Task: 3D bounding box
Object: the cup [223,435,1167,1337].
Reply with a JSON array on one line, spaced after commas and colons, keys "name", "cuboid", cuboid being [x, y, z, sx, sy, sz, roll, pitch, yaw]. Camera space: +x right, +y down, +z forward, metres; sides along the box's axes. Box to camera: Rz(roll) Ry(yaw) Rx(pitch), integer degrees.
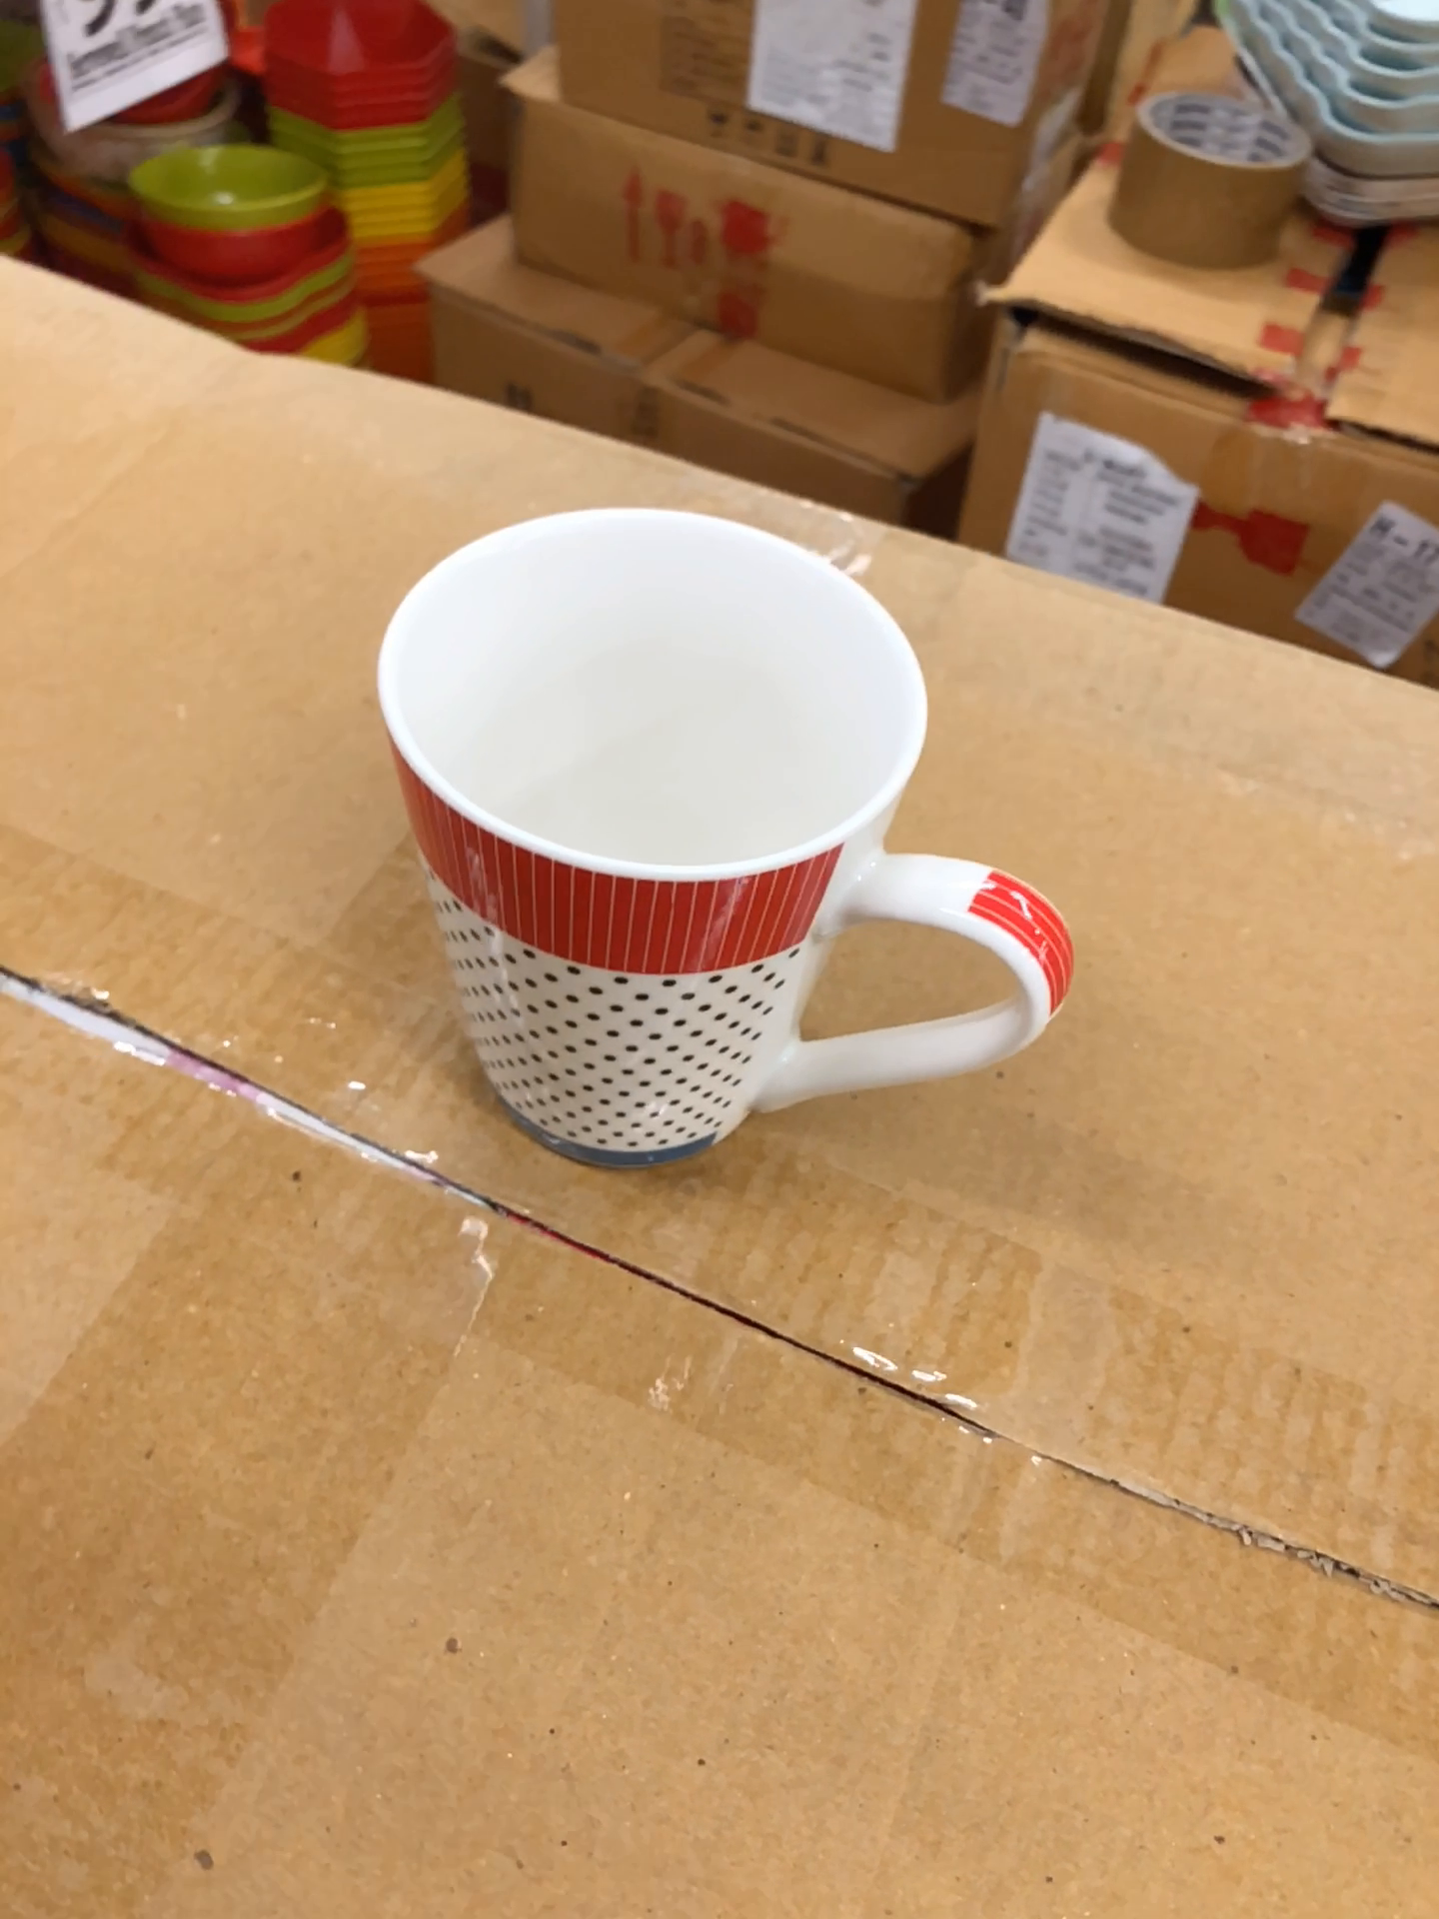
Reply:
[{"name": "cup", "cuboid": [-0.001, -0.014, 0.278, 0.120, 0.089, 0.091, 17, 51, 10]}]
